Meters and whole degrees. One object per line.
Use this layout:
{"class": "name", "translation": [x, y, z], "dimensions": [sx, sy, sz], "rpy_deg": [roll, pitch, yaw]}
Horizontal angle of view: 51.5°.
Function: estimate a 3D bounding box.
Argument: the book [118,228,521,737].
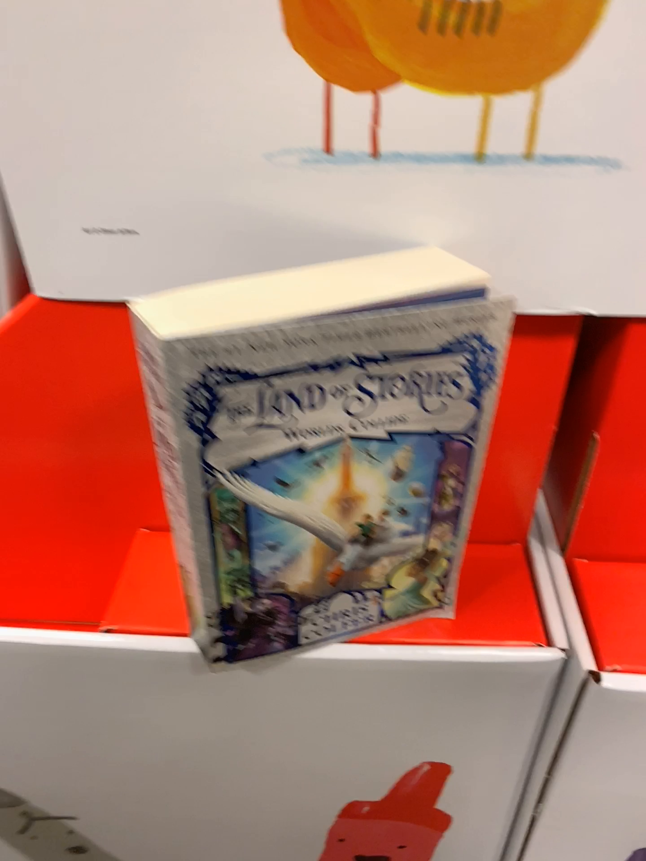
{"class": "book", "translation": [0.001, 0.027, 0.297], "dimensions": [0.130, 0.193, 0.065], "rpy_deg": [-18, 39, -21]}
